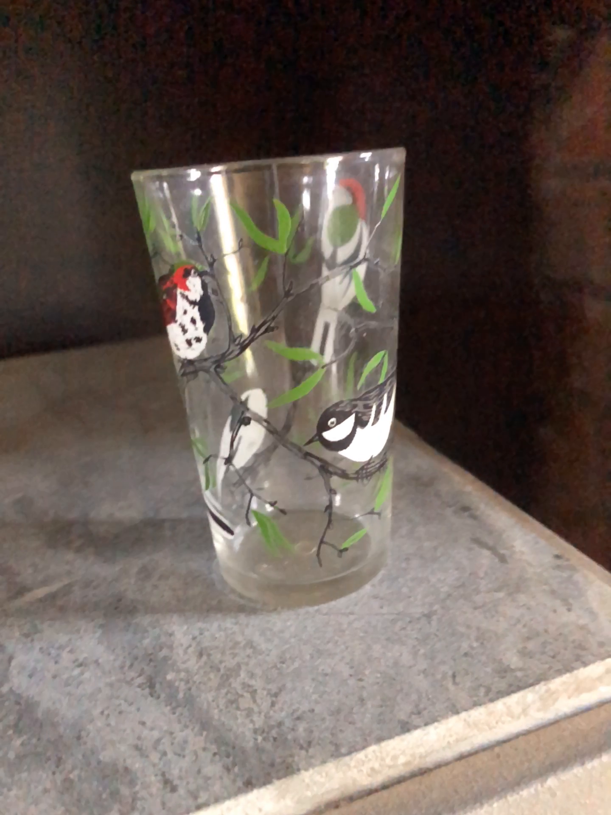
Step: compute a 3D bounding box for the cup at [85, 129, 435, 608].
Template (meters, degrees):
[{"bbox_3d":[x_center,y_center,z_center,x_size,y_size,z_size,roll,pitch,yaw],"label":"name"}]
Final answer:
[{"bbox_3d":[-0.003,-0.012,0.184,0.070,0.110,0.060,-1,20,10],"label":"cup"}]
